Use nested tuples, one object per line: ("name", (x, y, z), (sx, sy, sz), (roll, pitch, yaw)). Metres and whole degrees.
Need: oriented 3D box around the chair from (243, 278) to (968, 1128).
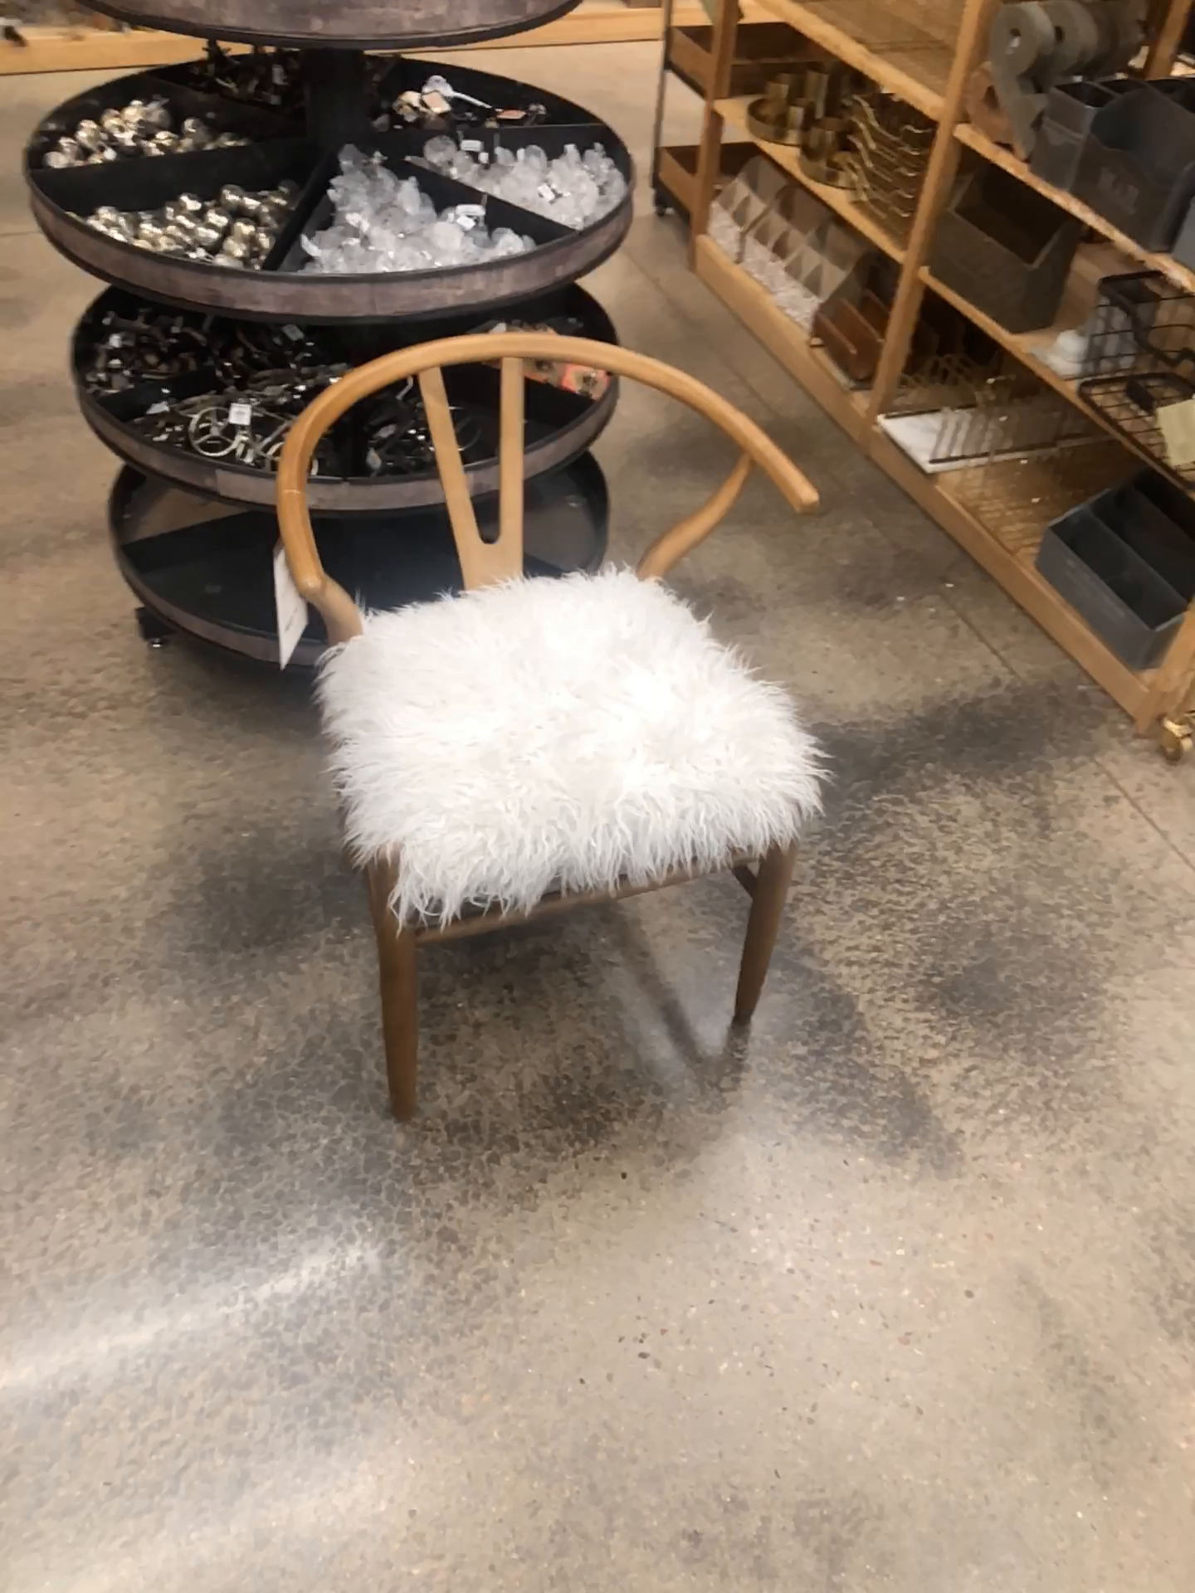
("chair", (-0.045, -0.103, 1.508), (0.558, 0.732, 0.530), (-10, 47, -15))
